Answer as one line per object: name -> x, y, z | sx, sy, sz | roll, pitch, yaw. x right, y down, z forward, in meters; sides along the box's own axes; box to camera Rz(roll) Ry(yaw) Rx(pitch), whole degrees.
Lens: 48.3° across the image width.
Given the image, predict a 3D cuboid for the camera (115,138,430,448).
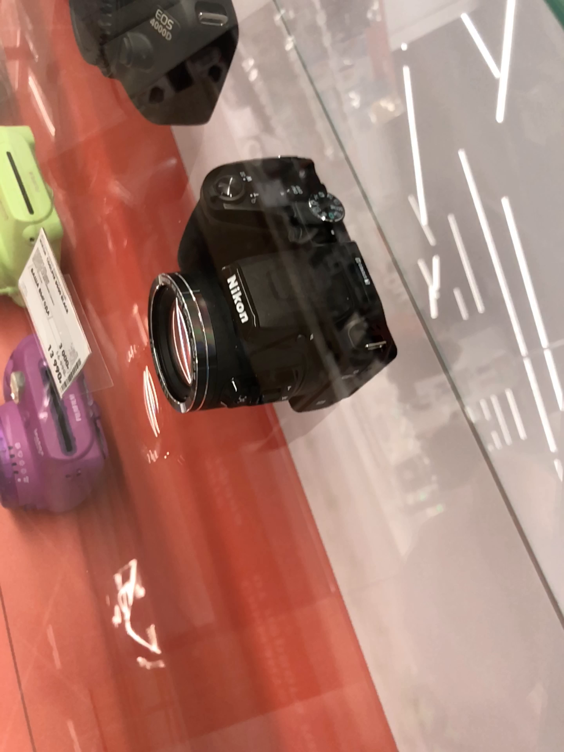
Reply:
camera -> -0.011, -0.041, 0.296 | 0.100, 0.070, 0.115 | -10, 70, -27
